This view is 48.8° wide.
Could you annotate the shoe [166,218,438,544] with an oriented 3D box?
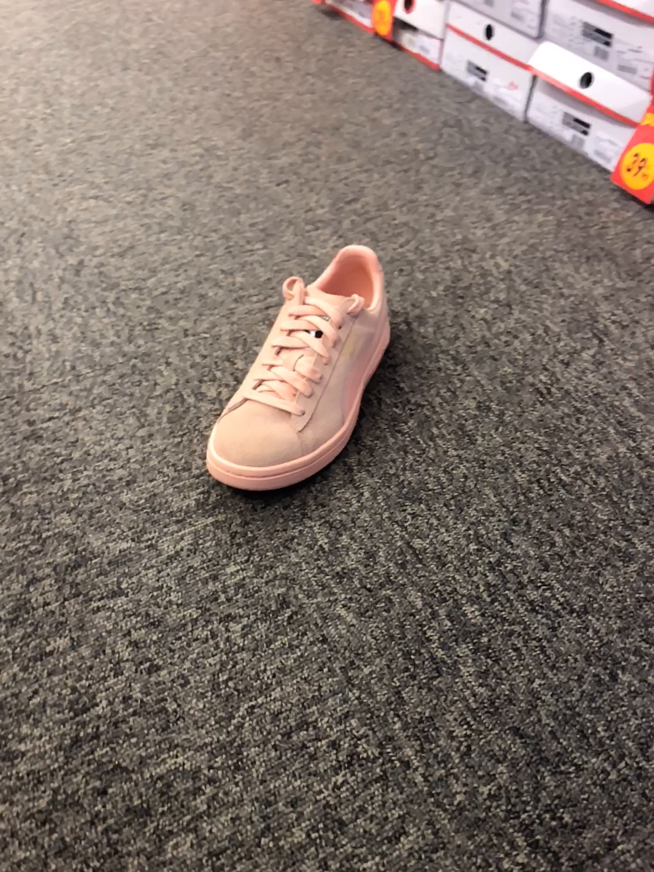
[{"bbox_3d":[-0.007,-0.054,0.576,0.092,0.090,0.254,21,56,19],"label":"shoe"}]
